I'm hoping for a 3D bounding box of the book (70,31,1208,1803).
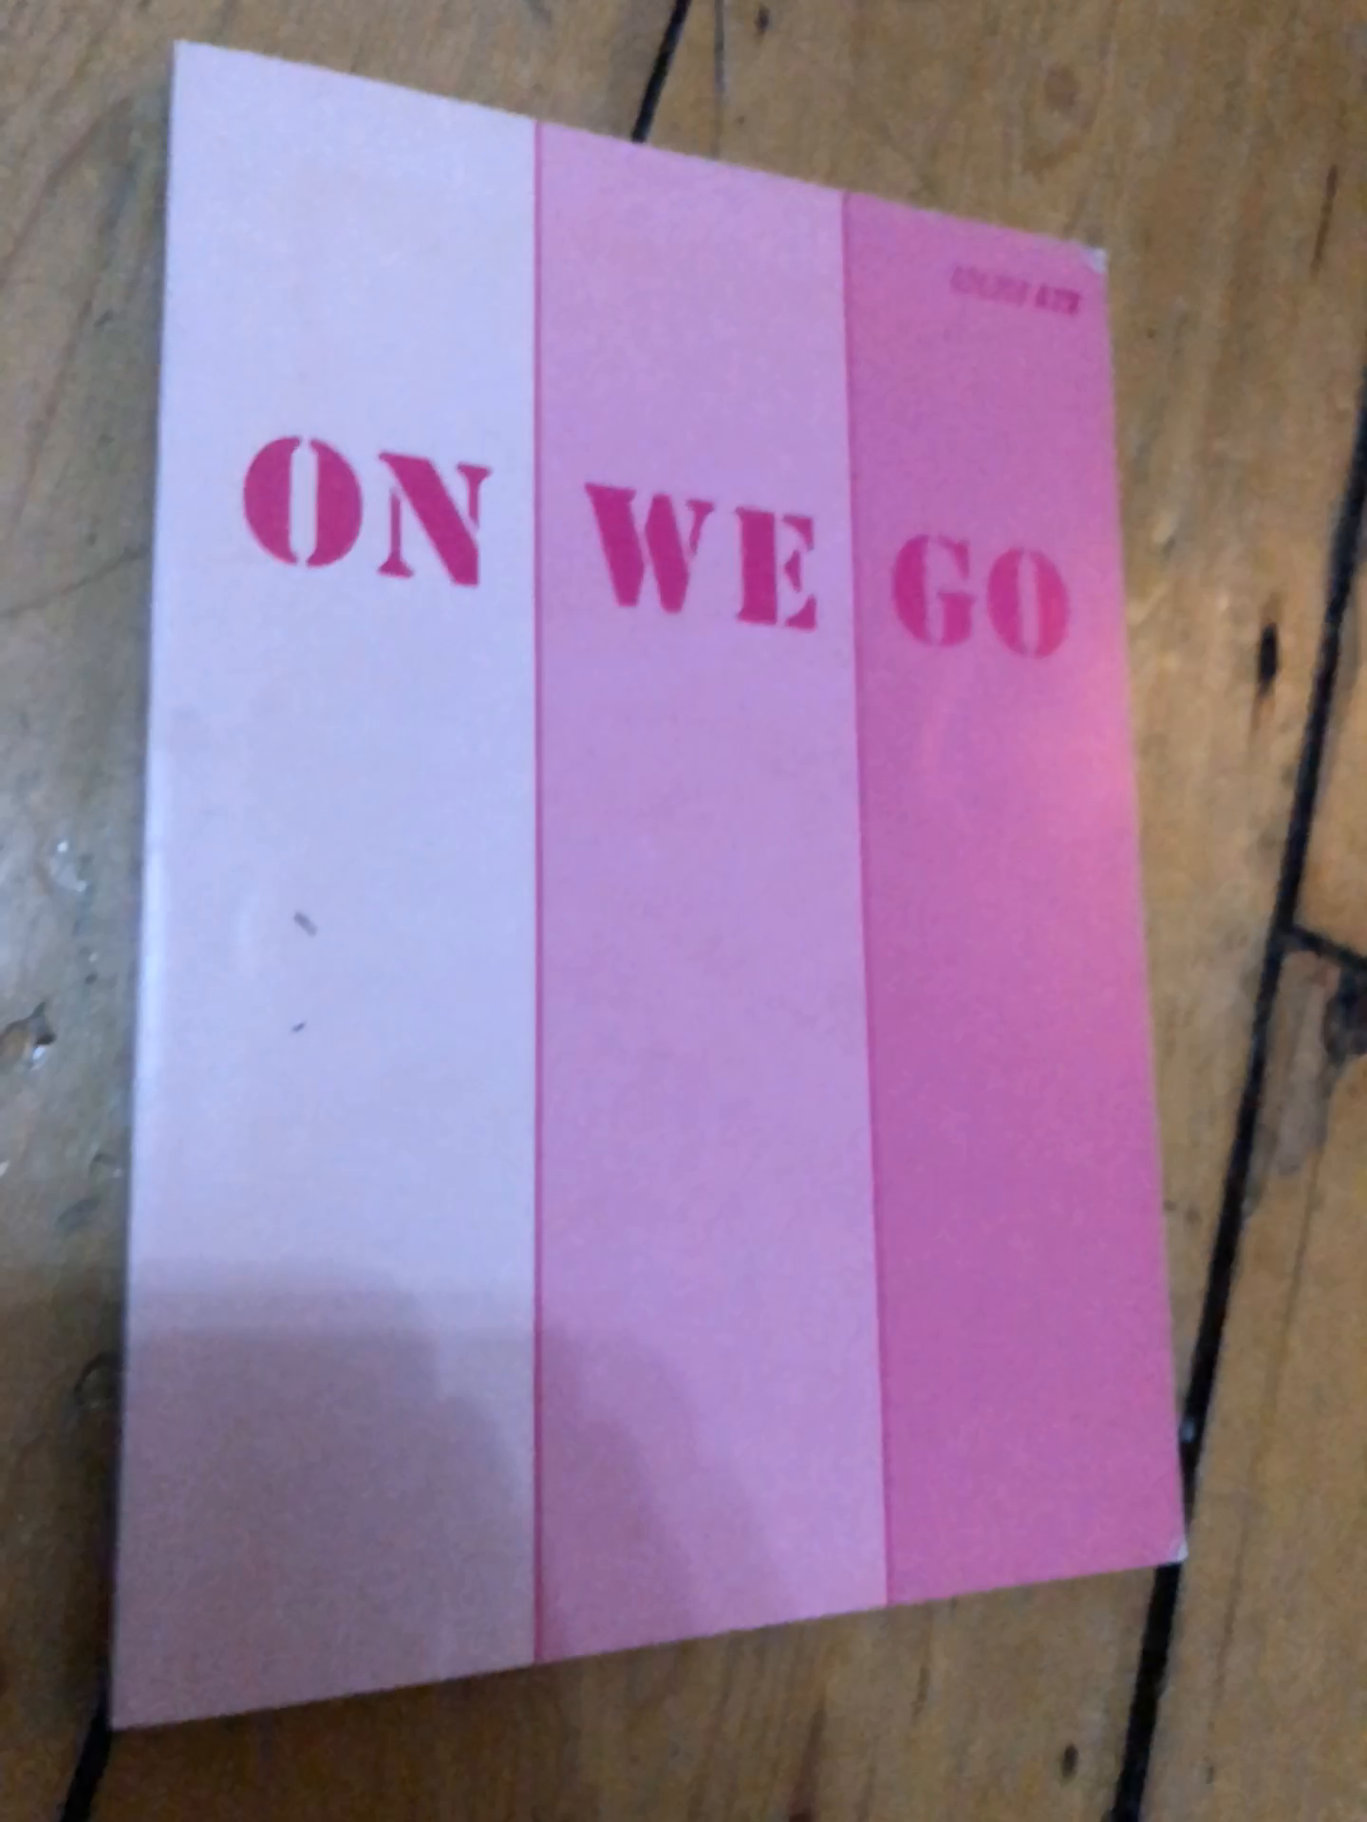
[{"bbox_3d":[-0.001,-0.005,0.228,0.160,0.020,0.220,2,81,-22],"label":"book"}]
